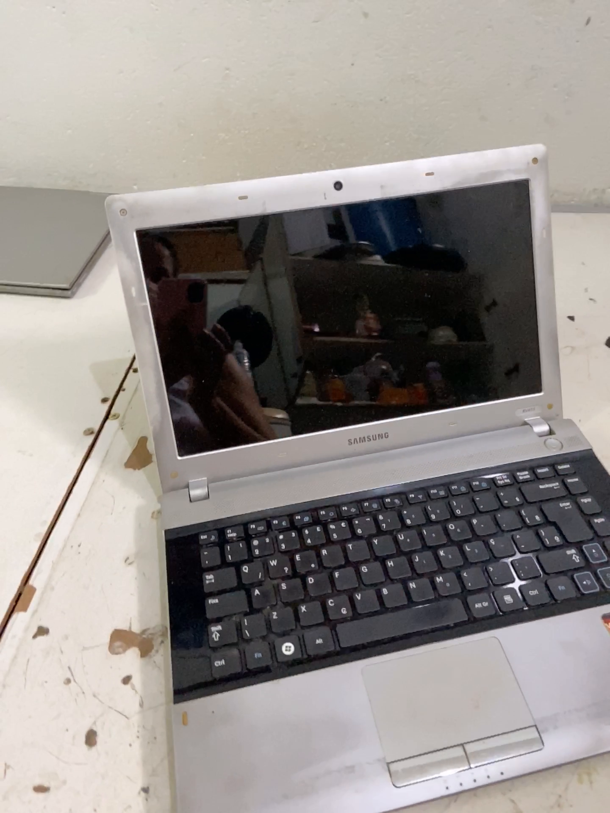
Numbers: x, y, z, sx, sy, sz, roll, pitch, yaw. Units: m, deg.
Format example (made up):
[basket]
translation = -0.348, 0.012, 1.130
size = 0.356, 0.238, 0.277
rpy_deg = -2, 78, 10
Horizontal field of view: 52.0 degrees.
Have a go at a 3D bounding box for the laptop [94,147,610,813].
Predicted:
[laptop]
translation = 0.066, 0.012, 0.405
size = 0.342, 0.180, 0.368
rpy_deg = -10, 45, -7
